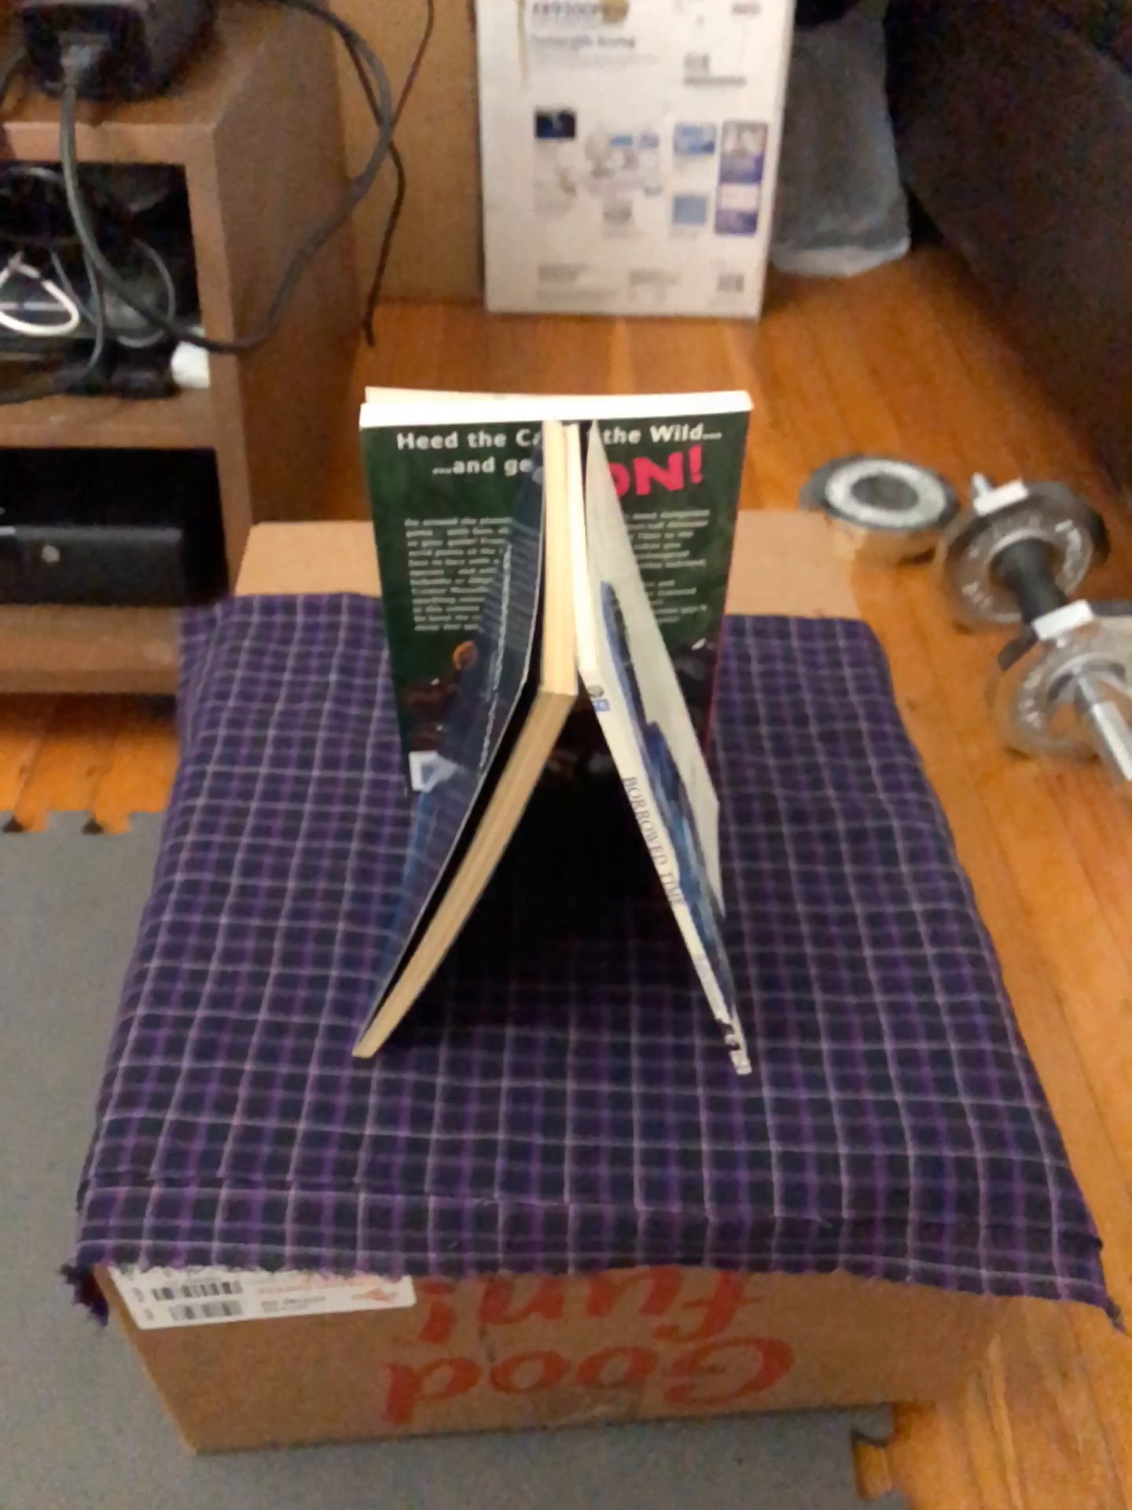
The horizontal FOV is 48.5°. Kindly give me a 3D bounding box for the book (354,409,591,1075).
[{"bbox_3d":[-0.035,-0.002,0.453,0.010,0.199,0.151,17,42,-13],"label":"book"}]

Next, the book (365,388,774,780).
[{"bbox_3d":[-0.001,-0.059,0.507,0.140,0.189,0.020,-1,49,-3],"label":"book"}]

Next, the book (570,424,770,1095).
[{"bbox_3d":[0.038,0.004,0.444,0.010,0.199,0.141,-14,40,11],"label":"book"}]
